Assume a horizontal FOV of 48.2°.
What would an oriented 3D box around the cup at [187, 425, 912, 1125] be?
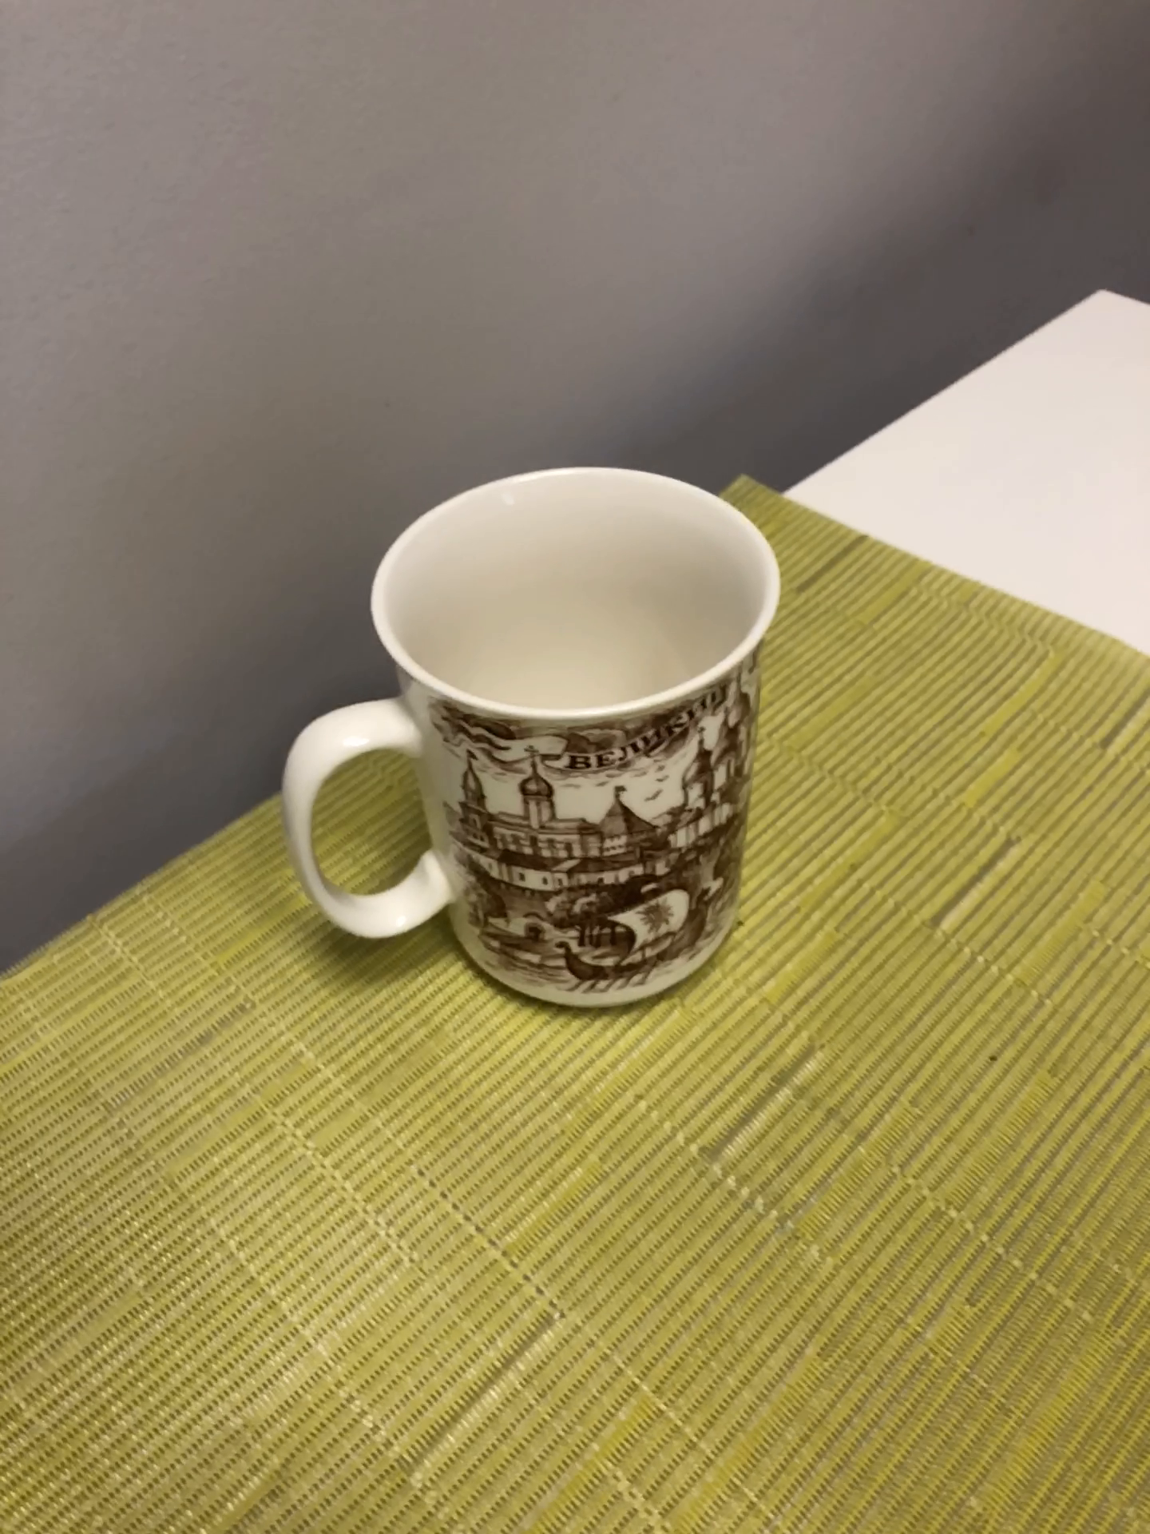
[{"bbox_3d":[-0.008,-0.002,0.296,0.124,0.092,0.095,-16,46,-13],"label":"cup"}]
